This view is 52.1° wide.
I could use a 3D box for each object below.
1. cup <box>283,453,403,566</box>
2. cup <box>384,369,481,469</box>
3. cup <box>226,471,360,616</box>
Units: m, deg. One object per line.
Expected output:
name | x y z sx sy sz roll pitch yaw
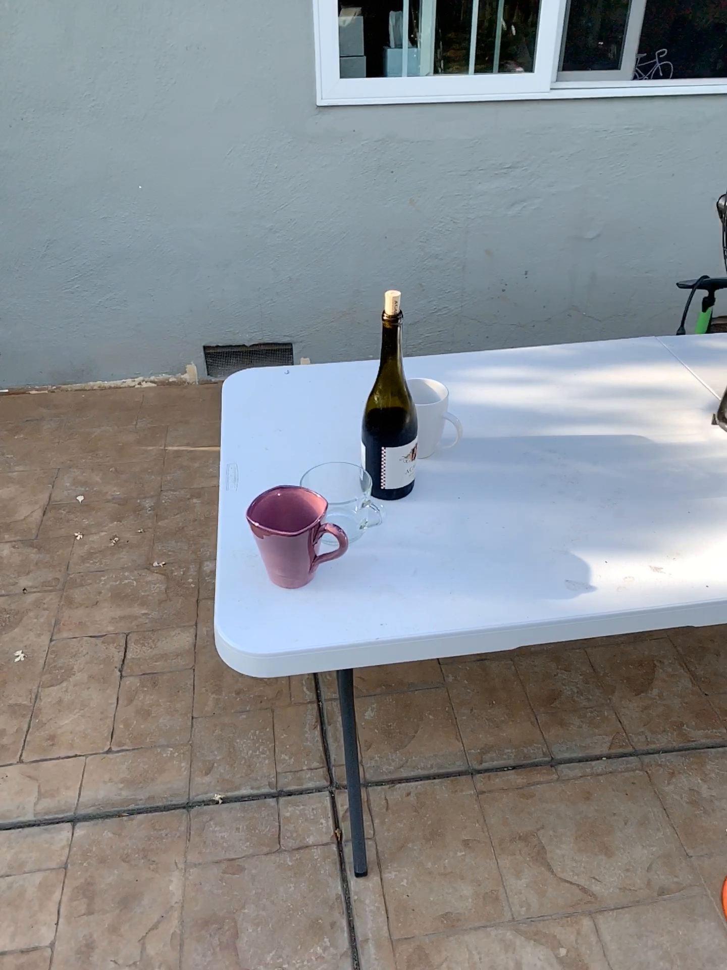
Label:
cup | -0.028 0.031 1.038 0.130 0.080 0.100 21 40 28
cup | 0.107 -0.106 1.178 0.120 0.099 0.090 21 40 28
cup | -0.087 0.072 0.951 0.130 0.109 0.100 21 40 28
